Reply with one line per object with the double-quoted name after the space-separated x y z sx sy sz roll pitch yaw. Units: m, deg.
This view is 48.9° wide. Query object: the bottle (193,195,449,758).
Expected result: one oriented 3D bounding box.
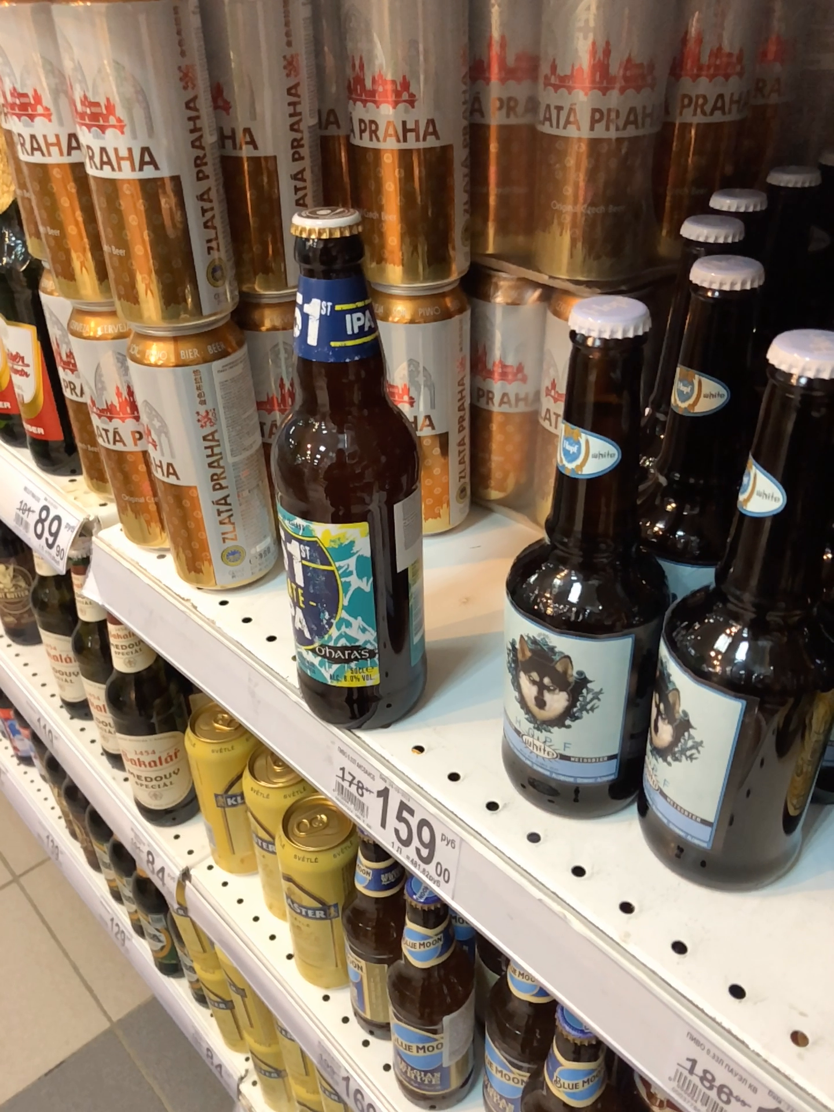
-0.037 -0.031 0.427 0.070 0.239 0.080 -21 38 -28 "bottle"
